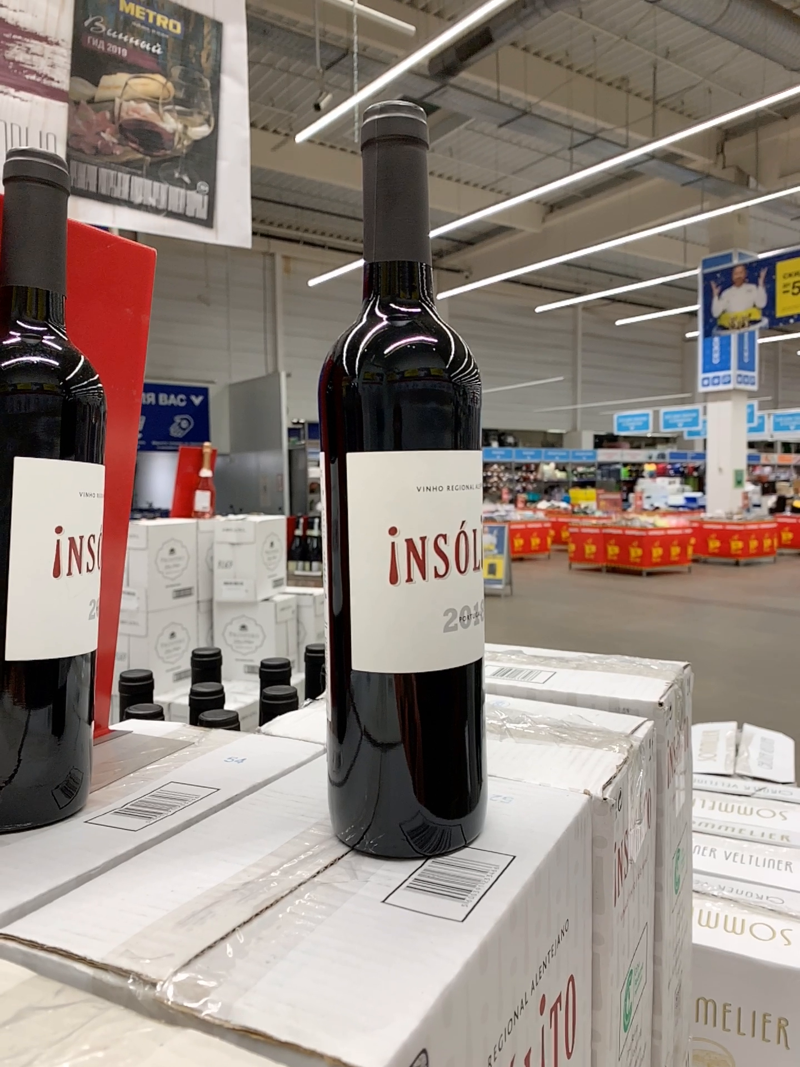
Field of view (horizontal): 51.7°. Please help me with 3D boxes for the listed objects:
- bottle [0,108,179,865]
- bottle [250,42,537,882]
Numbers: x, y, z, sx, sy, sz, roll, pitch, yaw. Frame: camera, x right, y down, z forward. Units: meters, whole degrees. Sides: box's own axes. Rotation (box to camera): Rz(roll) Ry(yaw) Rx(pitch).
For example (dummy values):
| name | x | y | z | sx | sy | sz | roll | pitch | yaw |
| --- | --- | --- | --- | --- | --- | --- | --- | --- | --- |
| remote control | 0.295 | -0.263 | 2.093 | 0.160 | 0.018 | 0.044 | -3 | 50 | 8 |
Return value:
| name | x | y | z | sx | sy | sz | roll | pitch | yaw |
| --- | --- | --- | --- | --- | --- | --- | --- | --- | --- |
| bottle | -0.180 | -0.023 | 0.400 | 0.090 | 0.320 | 0.090 | 5 | 2 | 0 |
| bottle | 0.000 | -0.027 | 0.368 | 0.090 | 0.310 | 0.090 | 0 | 3 | 0 |
